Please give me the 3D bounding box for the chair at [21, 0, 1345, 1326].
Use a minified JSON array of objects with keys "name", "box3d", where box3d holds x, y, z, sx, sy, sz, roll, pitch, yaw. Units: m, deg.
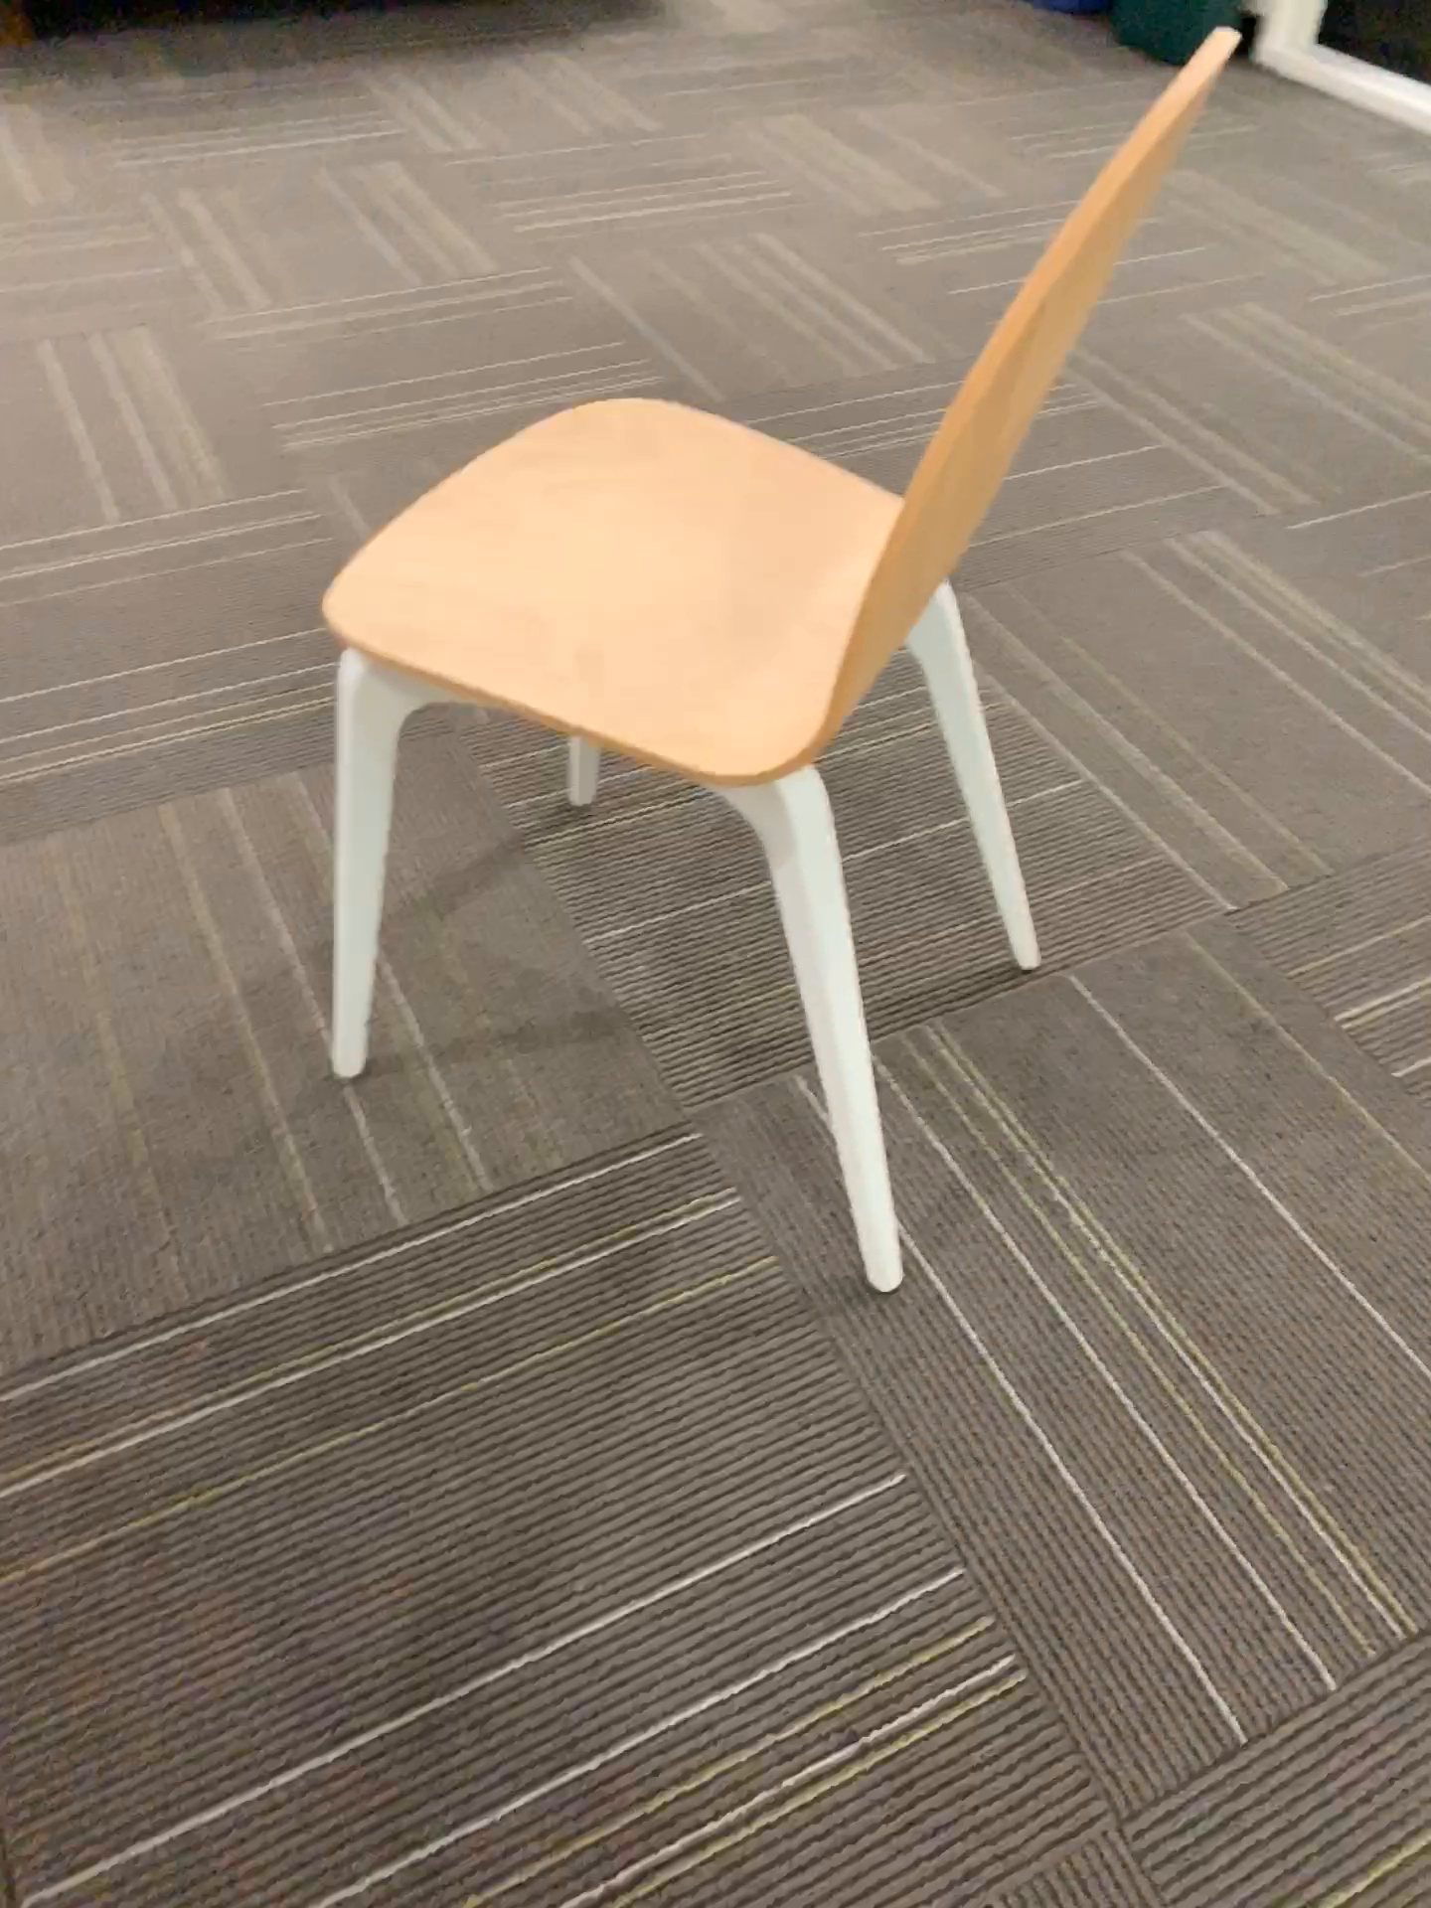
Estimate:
[{"name":"chair","box3d":[0.007,-0.244,1.060,0.541,0.795,0.502,20,48,16]}]
